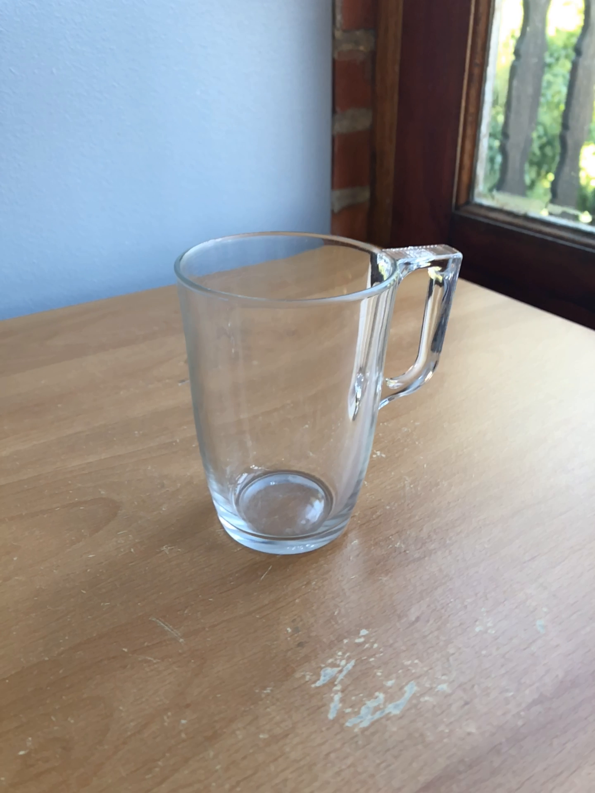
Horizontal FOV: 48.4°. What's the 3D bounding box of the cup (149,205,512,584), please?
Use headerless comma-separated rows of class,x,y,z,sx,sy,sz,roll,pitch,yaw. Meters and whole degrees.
cup,0.007,-0.007,0.249,0.103,0.103,0.078,-9,30,-14
